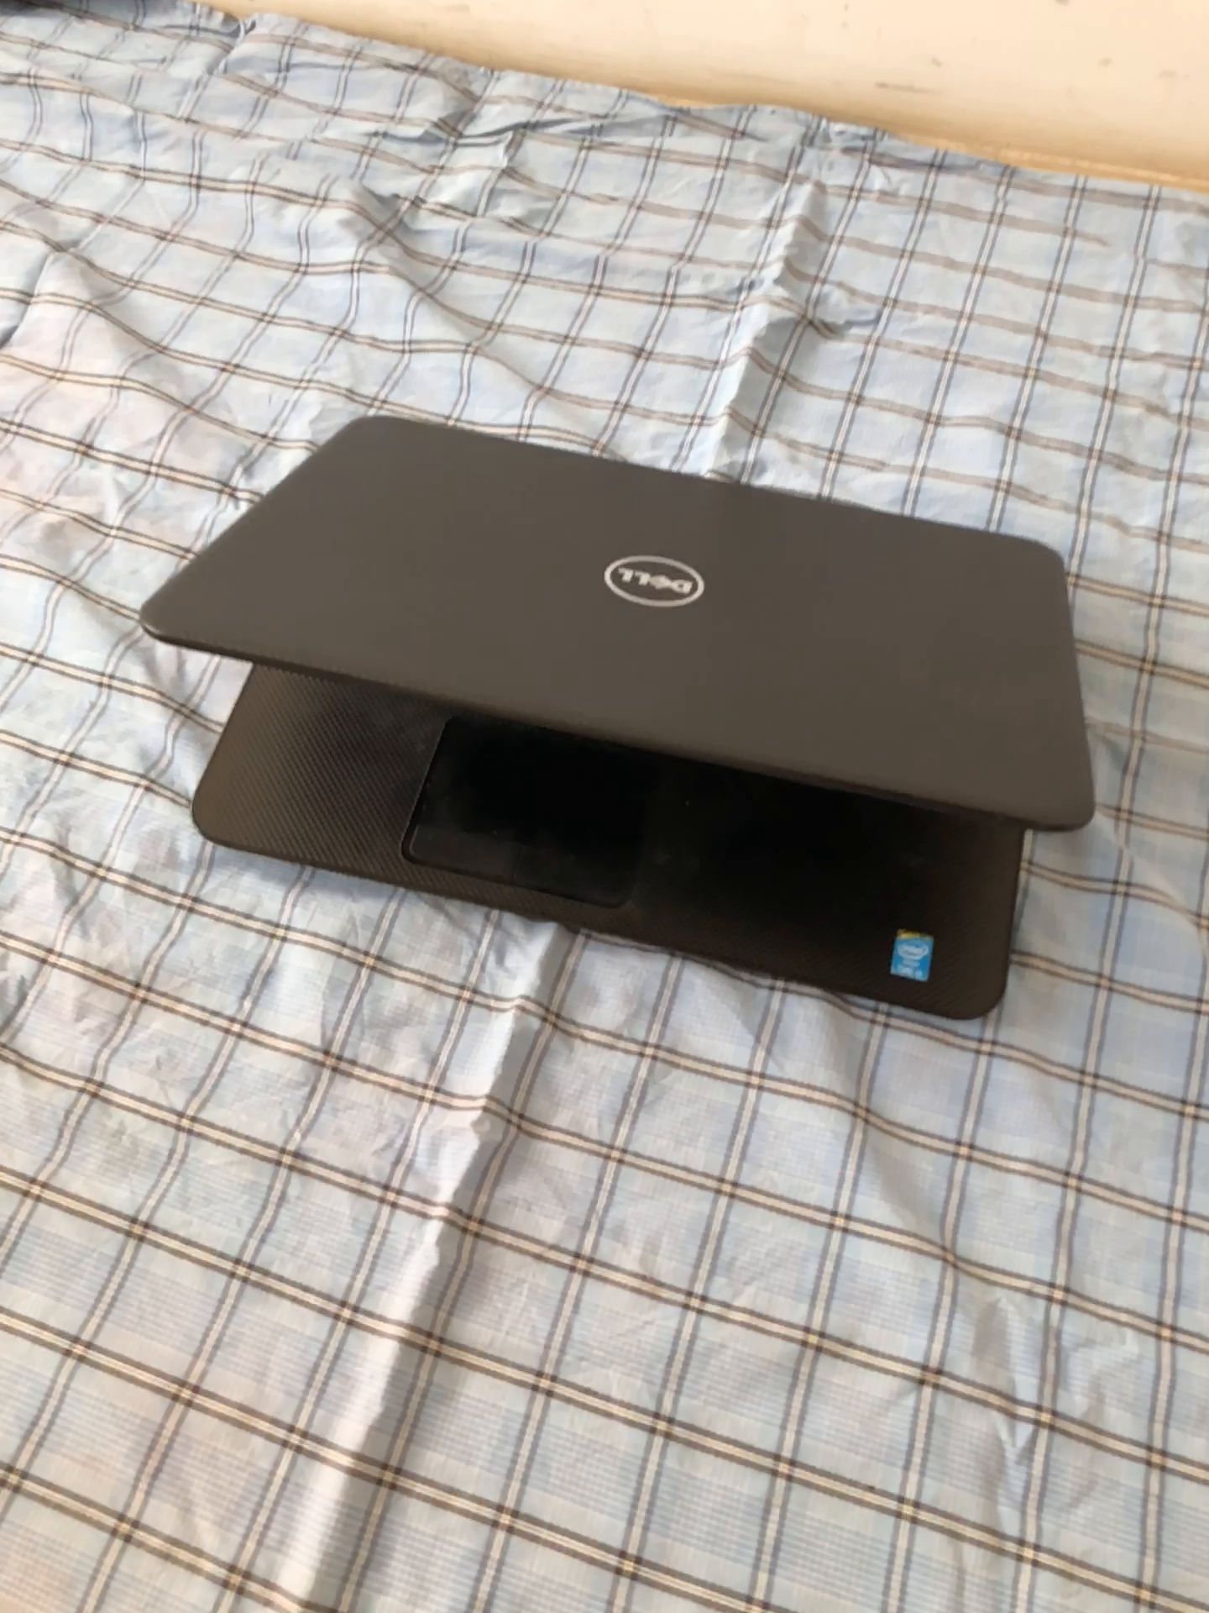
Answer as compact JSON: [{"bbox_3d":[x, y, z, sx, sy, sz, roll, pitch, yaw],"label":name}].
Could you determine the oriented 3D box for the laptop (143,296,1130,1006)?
[{"bbox_3d":[0.024,-0.075,0.578,0.350,0.099,0.224,13,62,6],"label":"laptop"}]
